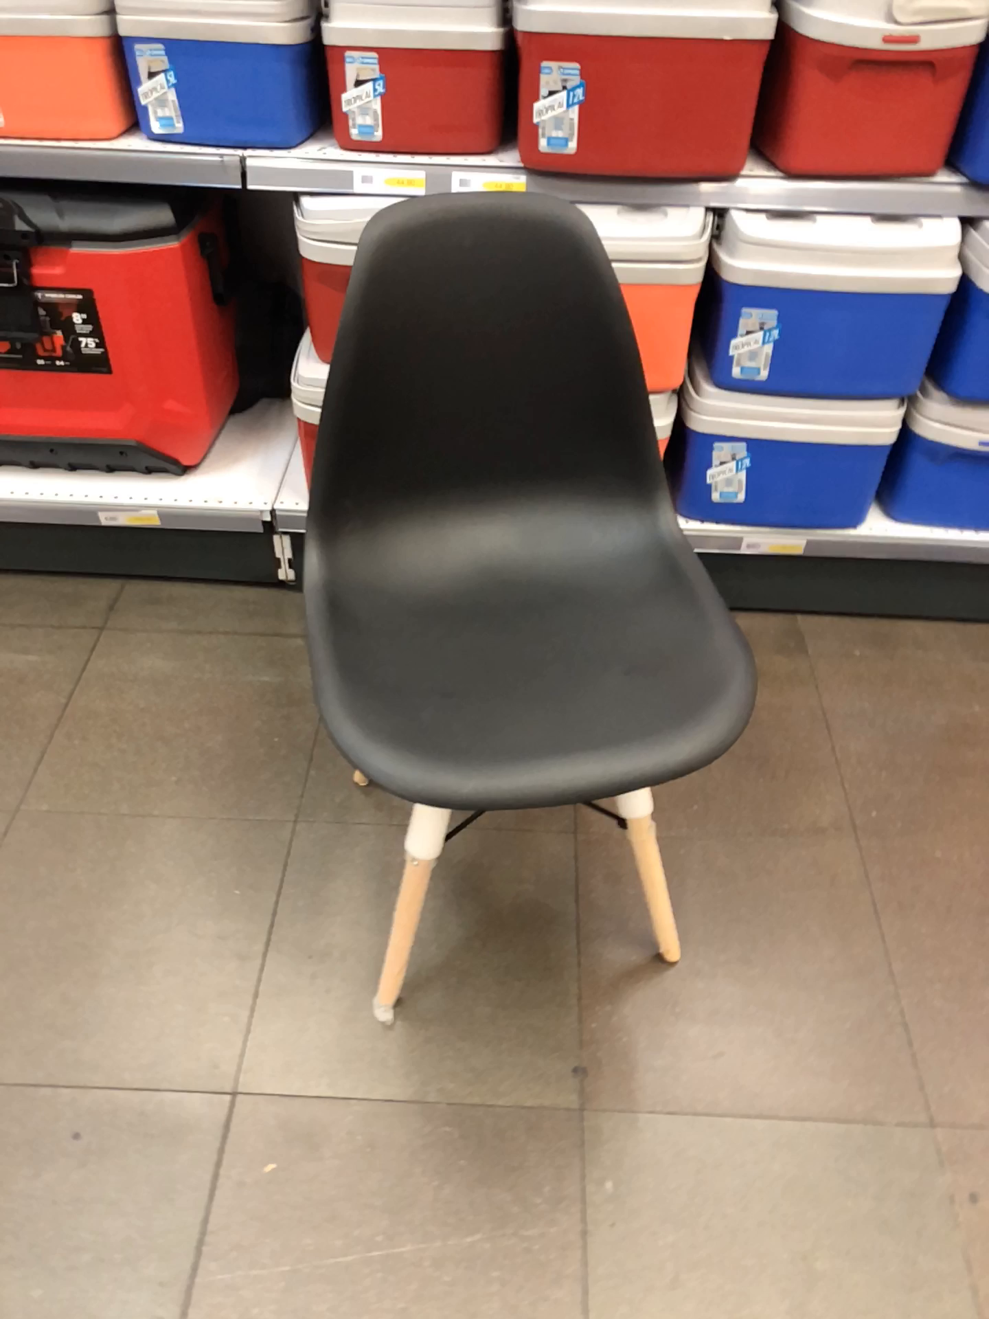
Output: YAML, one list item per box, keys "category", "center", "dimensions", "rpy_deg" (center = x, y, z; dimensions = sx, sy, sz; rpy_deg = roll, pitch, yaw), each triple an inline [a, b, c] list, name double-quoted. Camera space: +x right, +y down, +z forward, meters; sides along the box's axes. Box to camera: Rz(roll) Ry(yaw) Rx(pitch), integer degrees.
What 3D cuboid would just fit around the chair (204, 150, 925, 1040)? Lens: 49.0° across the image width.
- category: "chair"
  center: [0.005, -0.072, 1.184]
  dimensions: [0.500, 0.724, 0.554]
  rpy_deg: [-8, 42, -10]
